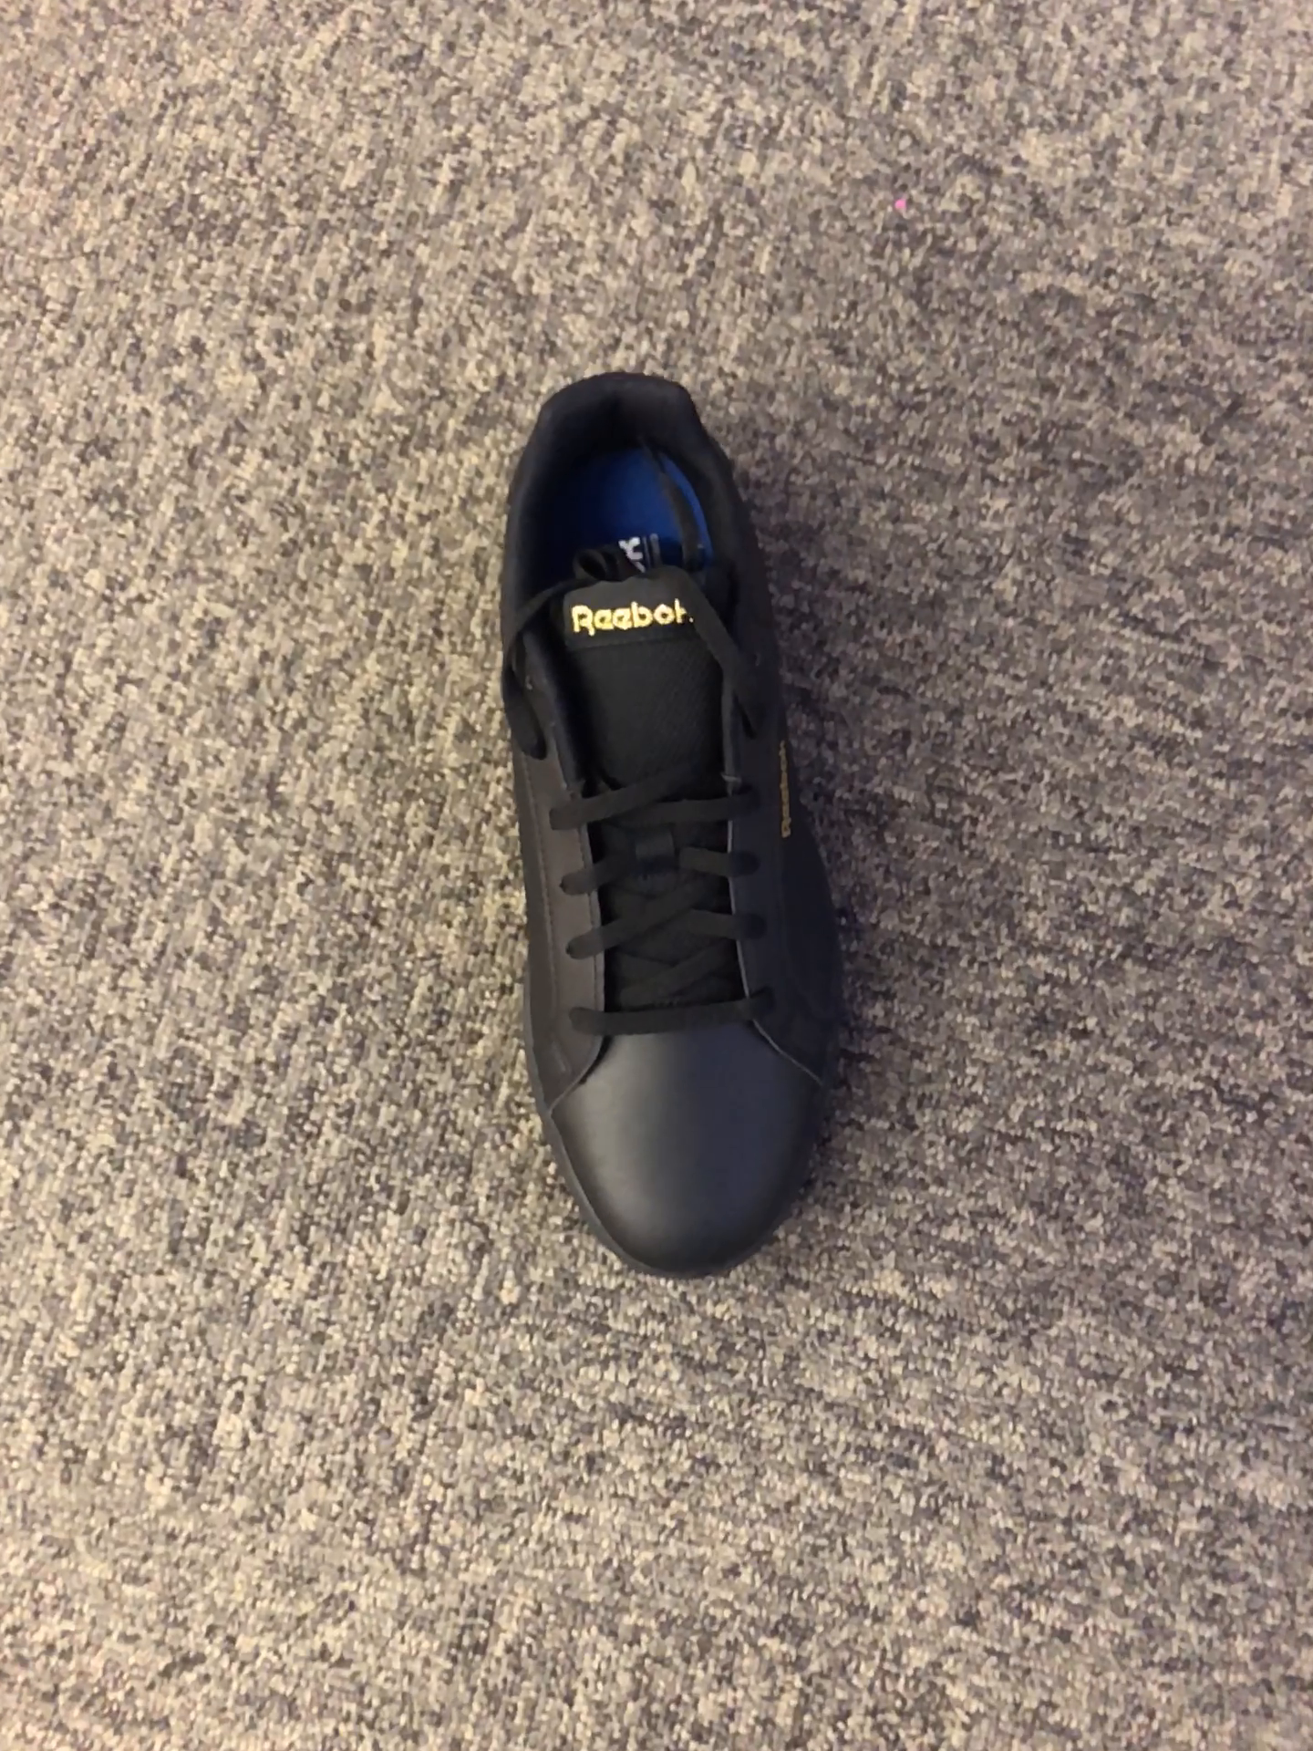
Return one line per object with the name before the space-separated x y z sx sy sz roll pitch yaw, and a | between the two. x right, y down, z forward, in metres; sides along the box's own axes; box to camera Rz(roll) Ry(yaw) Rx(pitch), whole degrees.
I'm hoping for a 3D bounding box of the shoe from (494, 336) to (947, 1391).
shoe | 0.012 -0.004 0.405 0.098 0.090 0.260 -3 83 -3
